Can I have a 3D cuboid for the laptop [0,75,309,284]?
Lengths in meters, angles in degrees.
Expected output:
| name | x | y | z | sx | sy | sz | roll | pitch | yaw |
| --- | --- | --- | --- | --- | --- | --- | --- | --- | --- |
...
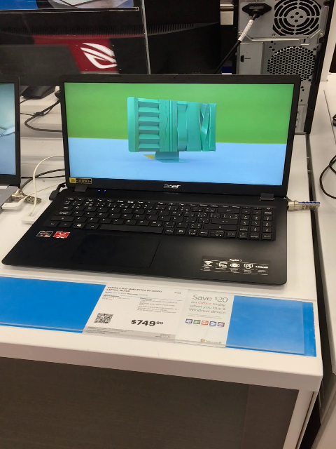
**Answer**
| name | x | y | z | sx | sy | sz | roll | pitch | yaw |
| --- | --- | --- | --- | --- | --- | --- | --- | --- | --- |
| laptop | -0.013 | -0.085 | 0.659 | 0.387 | 0.192 | 0.289 | 4 | 38 | 8 |
